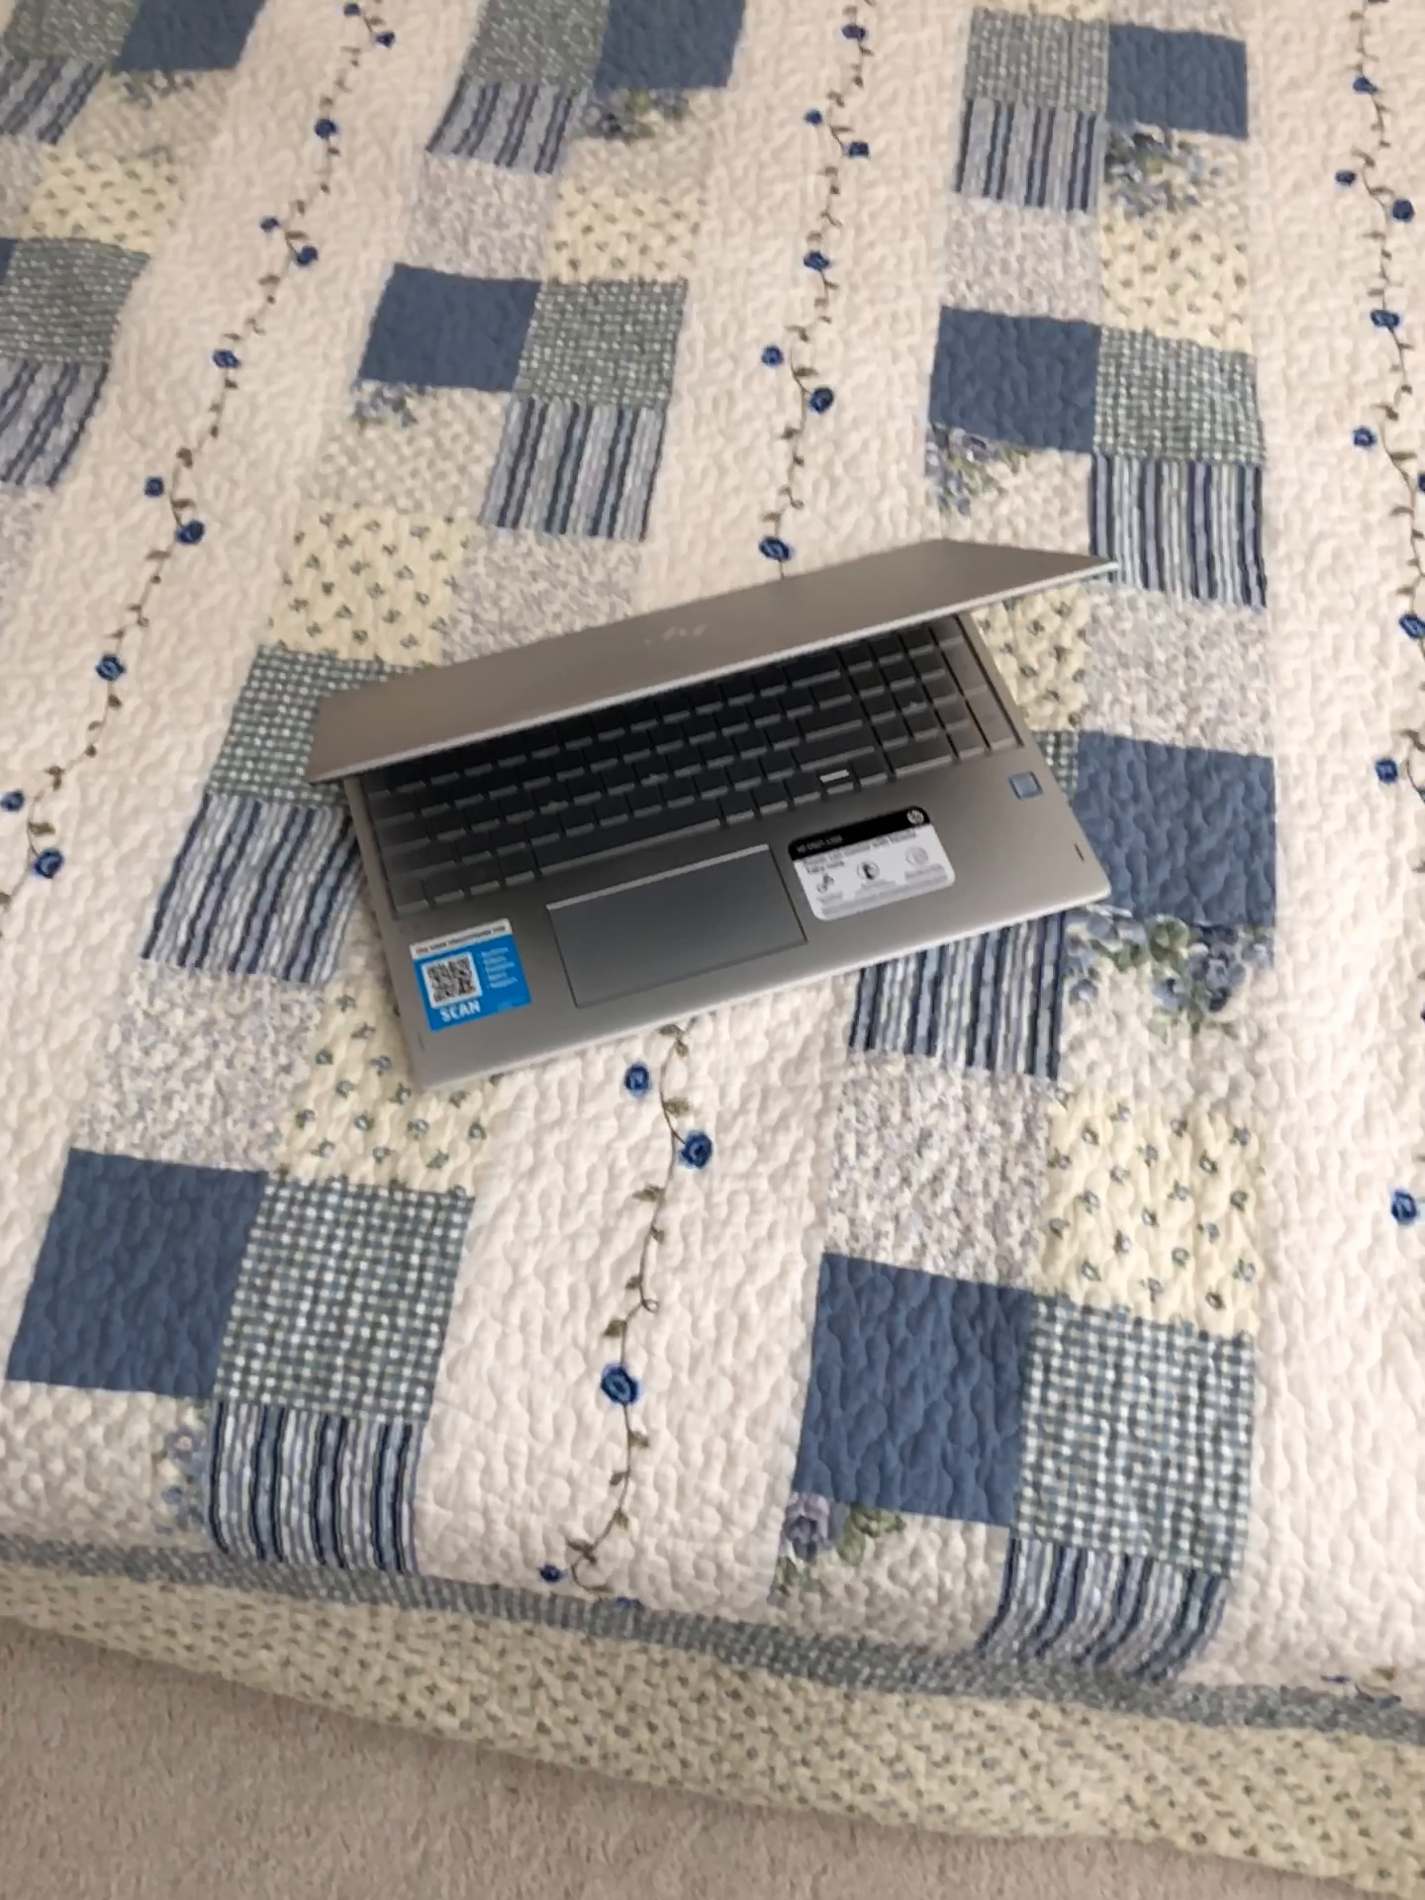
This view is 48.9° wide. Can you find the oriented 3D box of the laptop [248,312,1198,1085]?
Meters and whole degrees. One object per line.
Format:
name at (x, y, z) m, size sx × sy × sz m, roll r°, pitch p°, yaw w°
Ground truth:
laptop at (-0.005, -0.122, 0.742) m, size 0.348 × 0.158 × 0.242 m, roll -16°, pitch 61°, yaw -7°
